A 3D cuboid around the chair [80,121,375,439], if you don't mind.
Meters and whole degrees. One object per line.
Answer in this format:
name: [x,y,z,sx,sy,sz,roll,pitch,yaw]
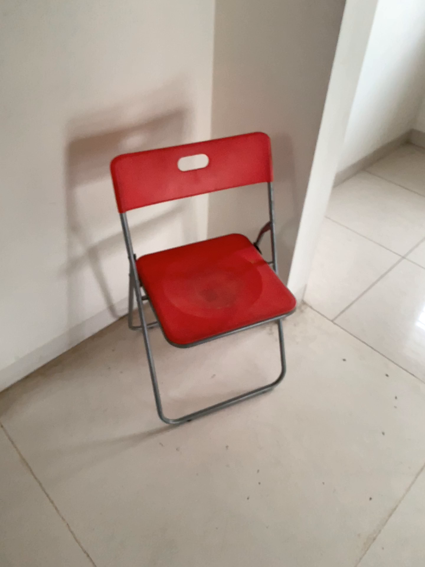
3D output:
chair: [-0.001,-0.023,1.237,0.530,0.608,0.502,-16,47,-19]
